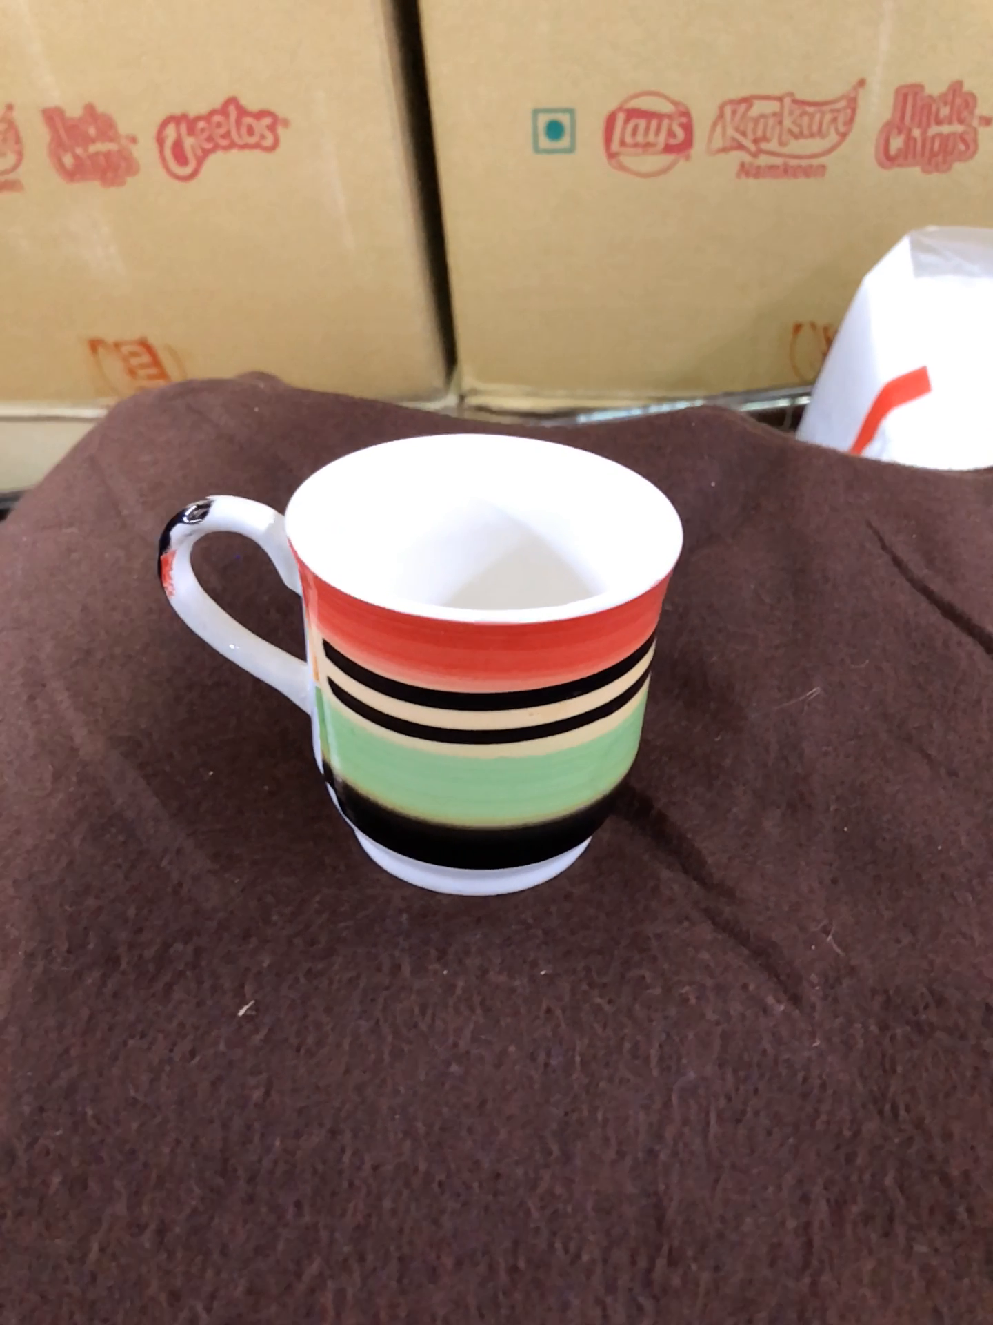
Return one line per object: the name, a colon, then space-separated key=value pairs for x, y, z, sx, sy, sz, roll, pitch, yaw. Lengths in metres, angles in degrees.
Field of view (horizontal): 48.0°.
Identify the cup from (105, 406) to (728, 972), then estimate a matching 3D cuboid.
cup: x=-0.008 y=0.000 z=0.211 sx=0.090 sy=0.070 sz=0.070 roll=6 pitch=34 yaw=14
